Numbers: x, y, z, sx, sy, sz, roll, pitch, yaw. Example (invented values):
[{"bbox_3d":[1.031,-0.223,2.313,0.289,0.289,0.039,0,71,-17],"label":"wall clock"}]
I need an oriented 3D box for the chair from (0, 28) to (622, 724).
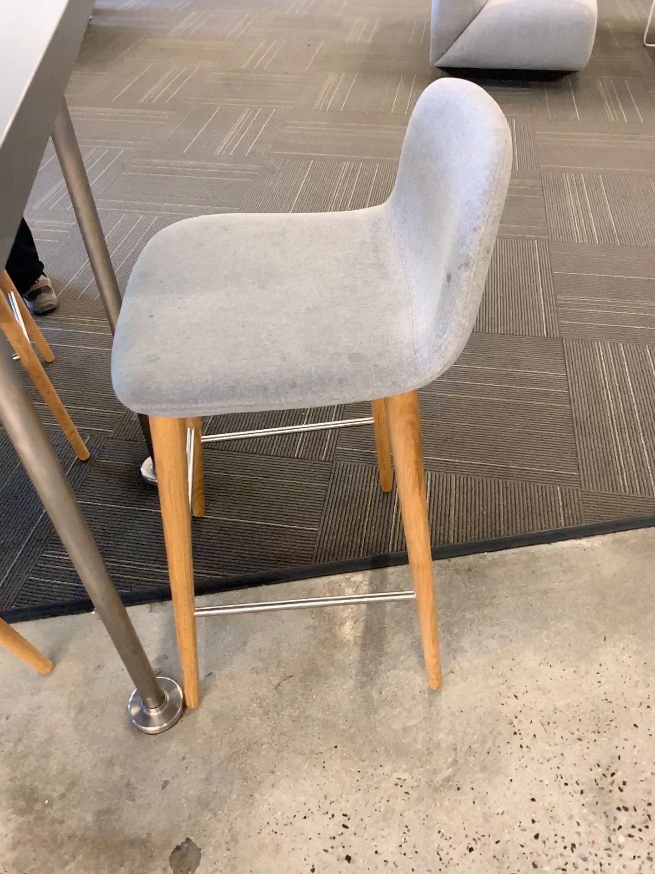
[{"bbox_3d":[-0.043,-0.047,1.093,0.550,0.925,0.593,-5,45,-3],"label":"chair"}]
